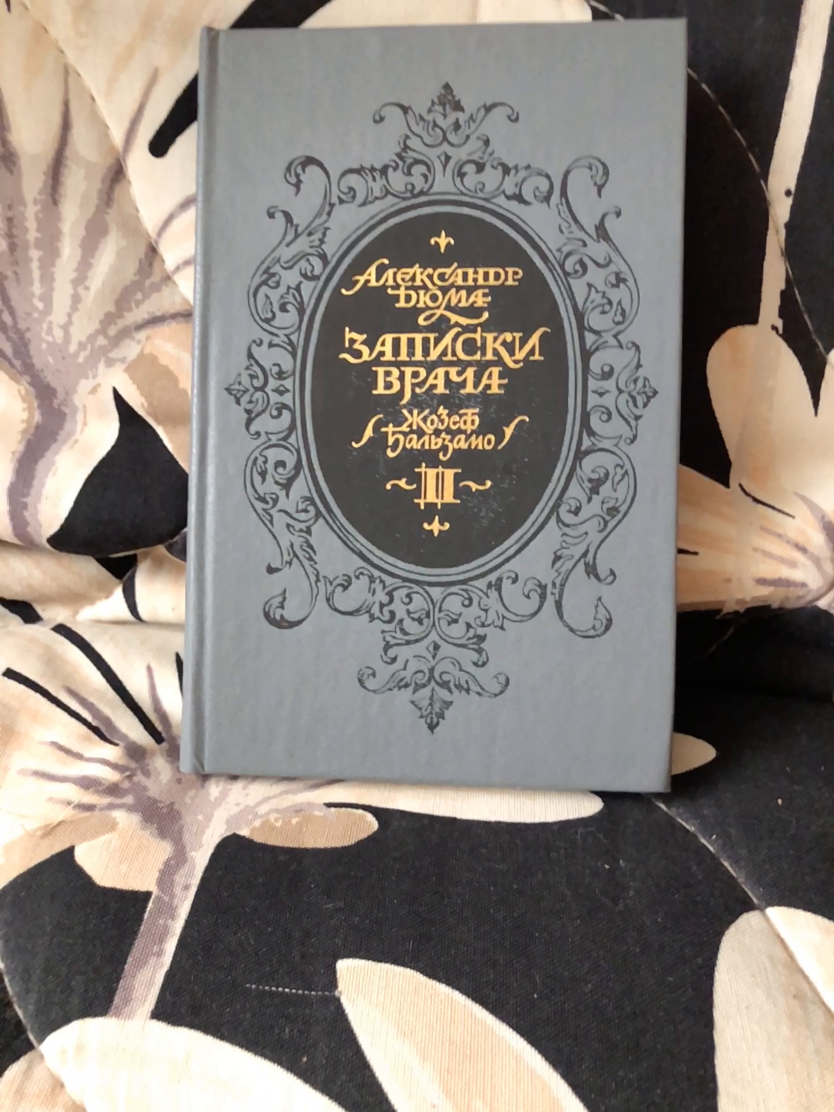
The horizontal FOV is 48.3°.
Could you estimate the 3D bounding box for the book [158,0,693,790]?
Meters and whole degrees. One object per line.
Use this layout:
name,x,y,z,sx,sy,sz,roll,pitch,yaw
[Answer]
book,0.002,-0.044,0.263,0.140,0.030,0.206,1,90,5
